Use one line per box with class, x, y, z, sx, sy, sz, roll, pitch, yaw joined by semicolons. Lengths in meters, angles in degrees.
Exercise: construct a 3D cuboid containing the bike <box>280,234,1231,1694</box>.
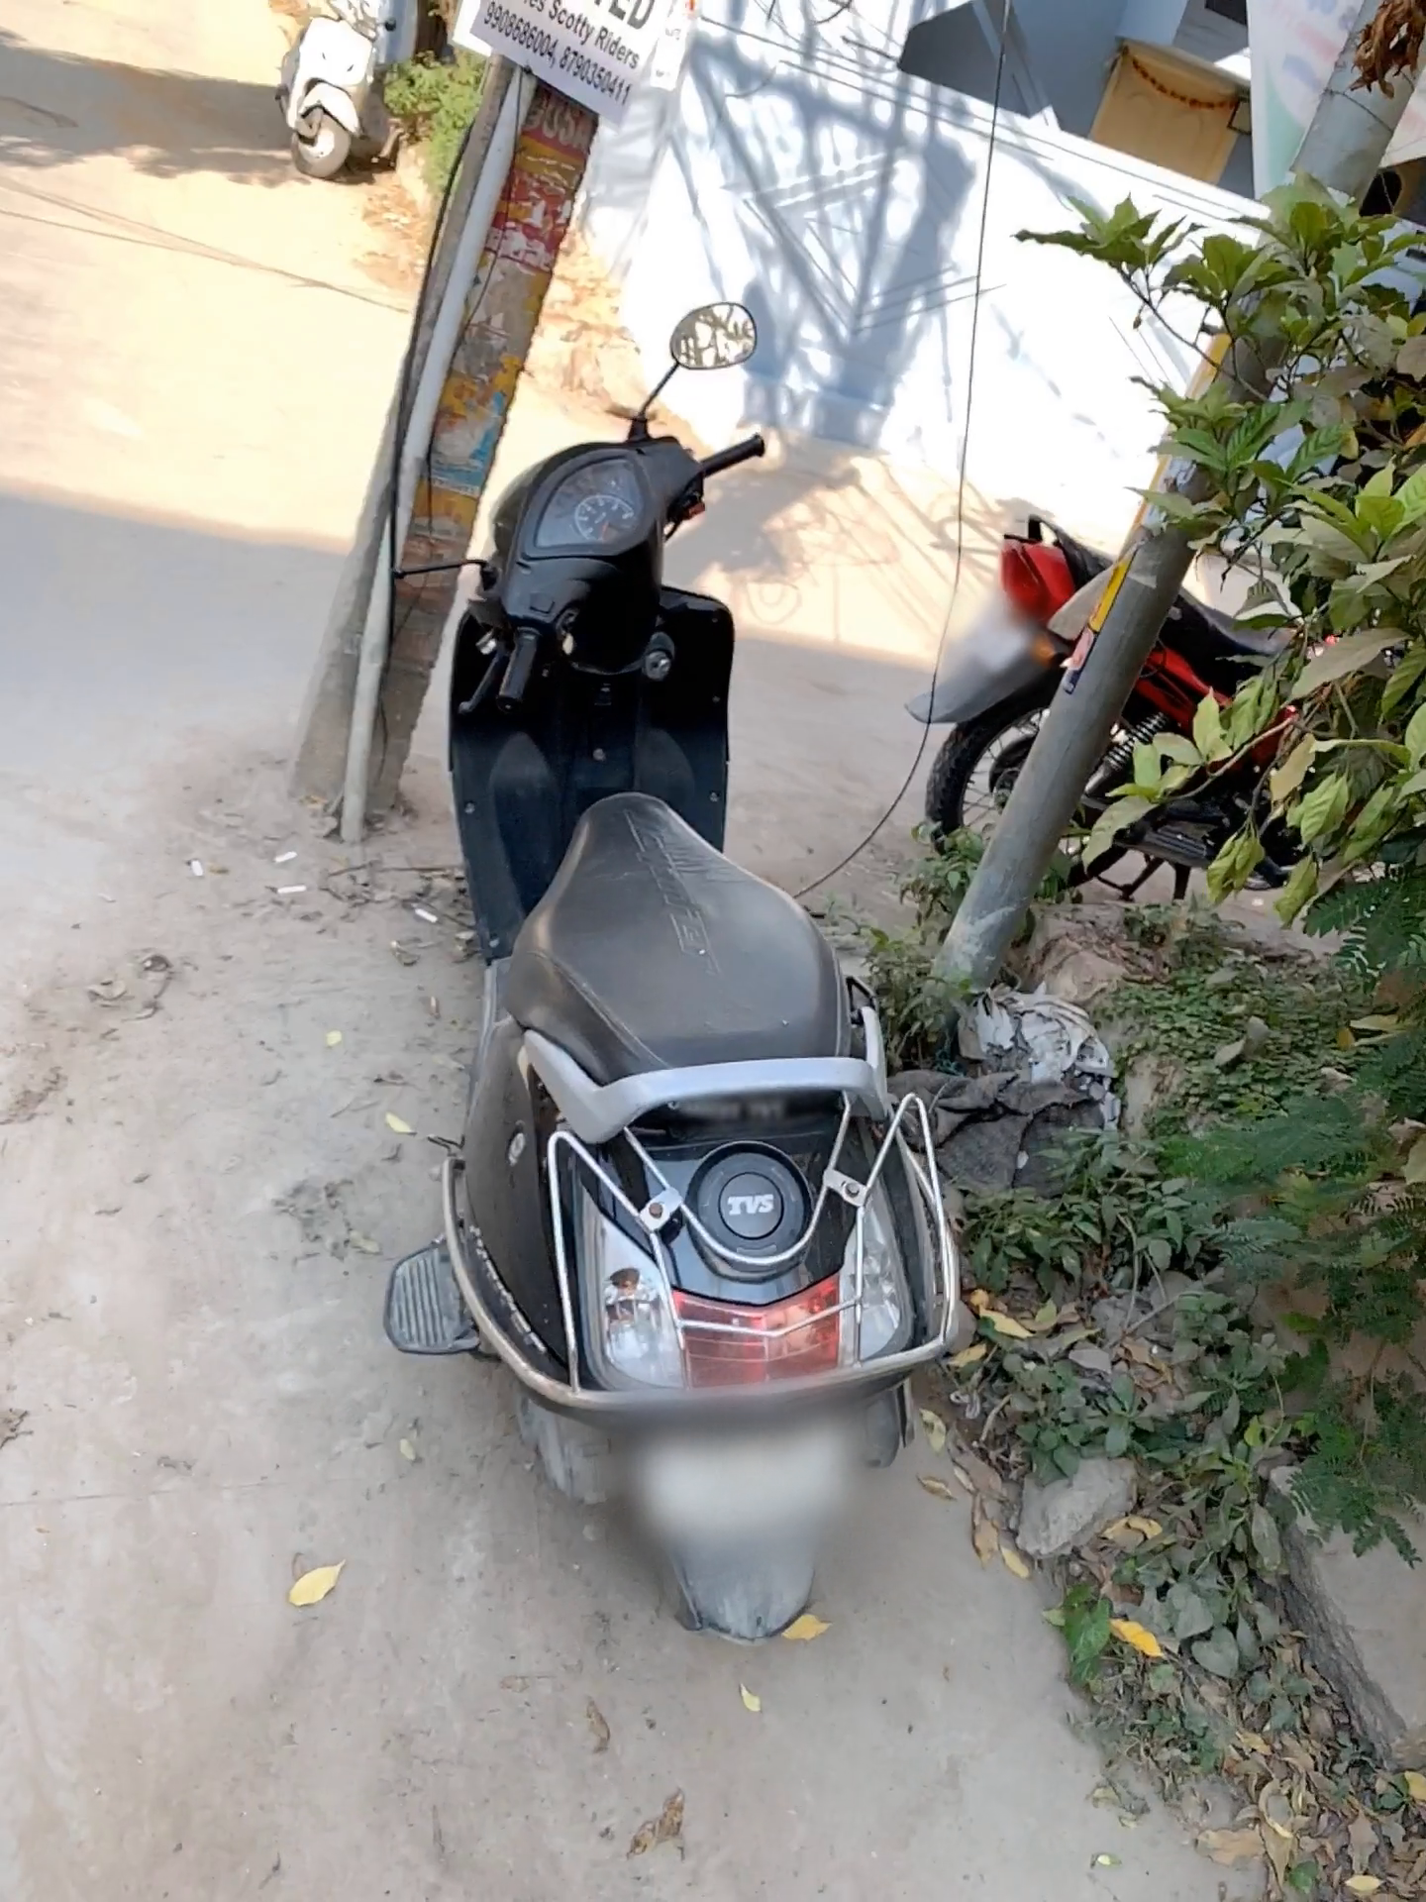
bike;-0.207;-0.189;1.998;0.619;0.943;1.824;6;34;-21
